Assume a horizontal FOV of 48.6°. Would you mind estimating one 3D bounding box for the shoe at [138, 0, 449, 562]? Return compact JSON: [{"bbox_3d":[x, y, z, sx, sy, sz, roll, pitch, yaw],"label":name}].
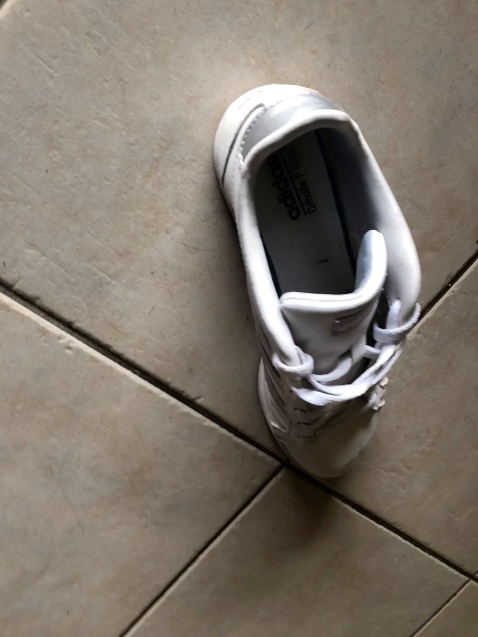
[{"bbox_3d":[0.039,-0.008,0.294,0.090,0.099,0.271,-21,119,-10],"label":"shoe"}]
